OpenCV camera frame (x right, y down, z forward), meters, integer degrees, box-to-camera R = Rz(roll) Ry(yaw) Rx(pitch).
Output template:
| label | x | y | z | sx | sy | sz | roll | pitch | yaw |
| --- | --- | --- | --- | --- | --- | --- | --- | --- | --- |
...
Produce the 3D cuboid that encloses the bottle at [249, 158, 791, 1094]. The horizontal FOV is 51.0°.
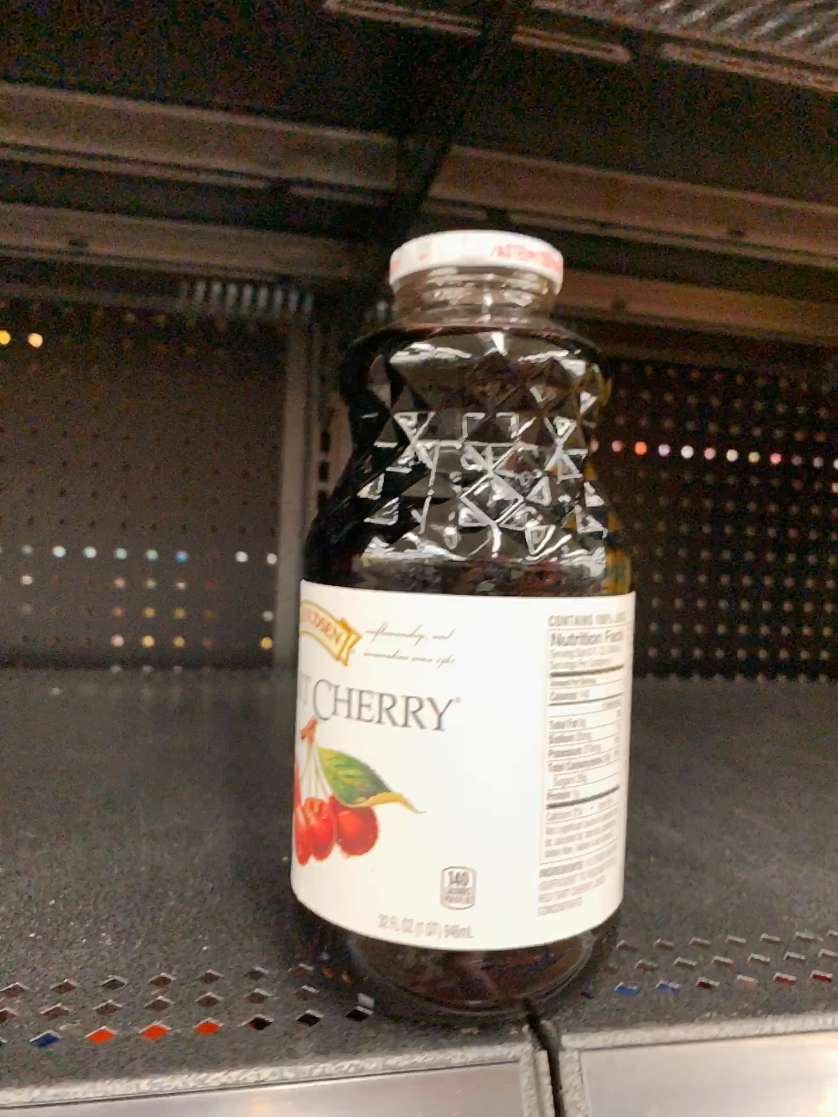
| label | x | y | z | sx | sy | sz | roll | pitch | yaw |
| --- | --- | --- | --- | --- | --- | --- | --- | --- | --- |
| bottle | 0.022 | 0.014 | 0.256 | 0.110 | 0.200 | 0.100 | 3 | 2 | 0 |
